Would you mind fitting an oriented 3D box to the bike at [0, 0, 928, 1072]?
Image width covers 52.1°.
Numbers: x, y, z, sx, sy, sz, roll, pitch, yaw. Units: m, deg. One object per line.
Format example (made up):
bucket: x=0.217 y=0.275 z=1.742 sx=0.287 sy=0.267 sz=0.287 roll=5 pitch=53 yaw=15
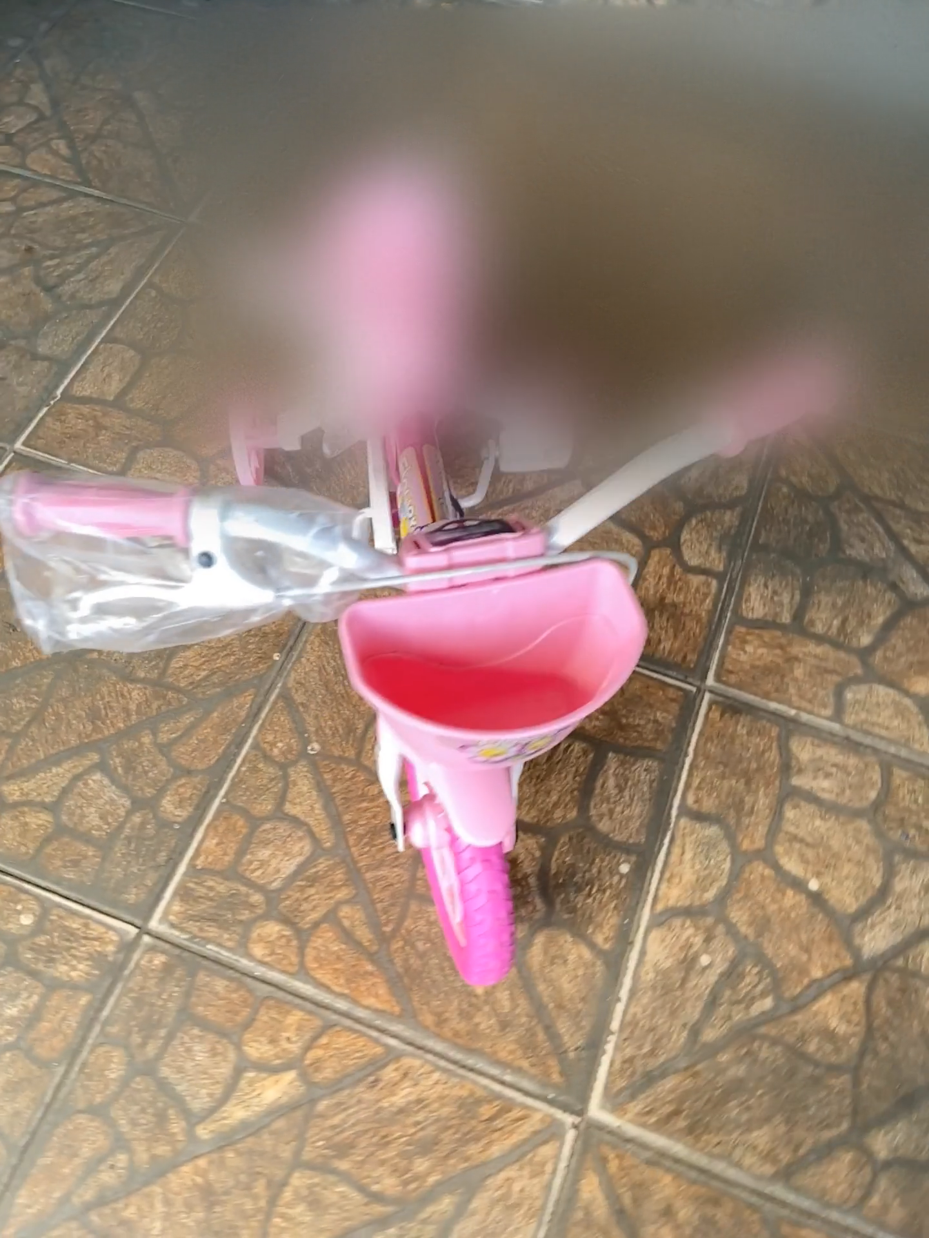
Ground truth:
bike: x=-0.058 y=-0.103 z=0.858 sx=0.511 sy=0.563 sz=0.794 roll=-6 pitch=61 yaw=-5
